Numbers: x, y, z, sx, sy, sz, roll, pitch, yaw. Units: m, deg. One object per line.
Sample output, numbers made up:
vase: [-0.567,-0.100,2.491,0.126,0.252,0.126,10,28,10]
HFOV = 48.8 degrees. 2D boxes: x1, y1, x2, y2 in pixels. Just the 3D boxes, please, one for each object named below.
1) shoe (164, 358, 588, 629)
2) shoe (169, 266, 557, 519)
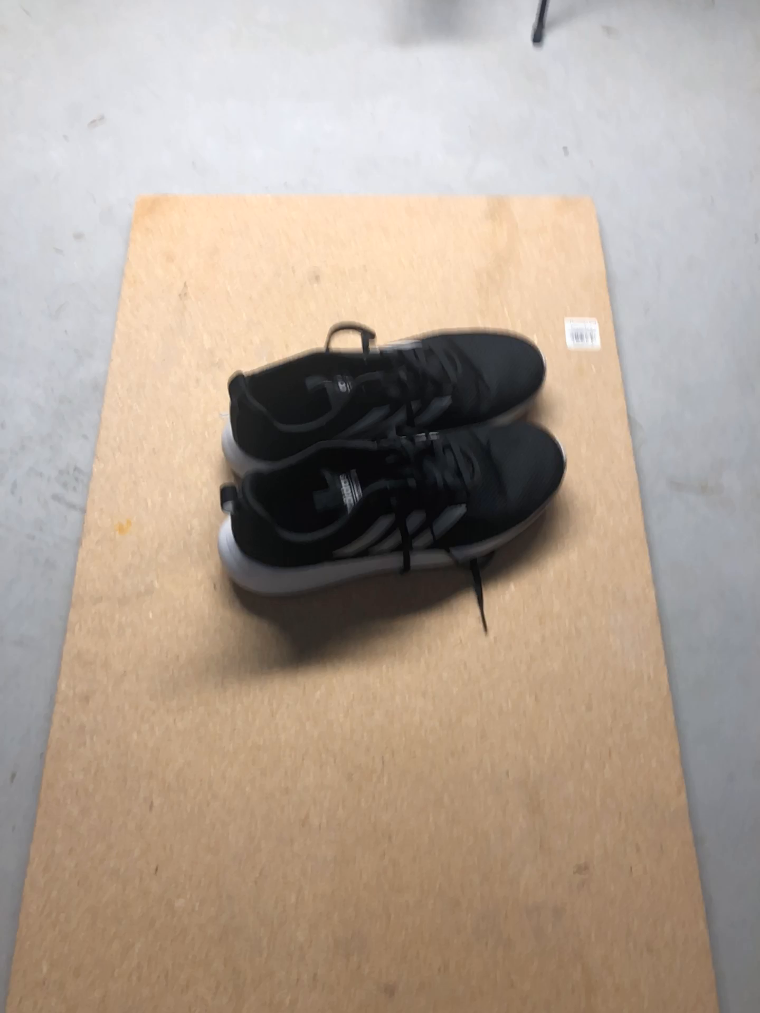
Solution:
shoe: [-0.004,-0.013,0.668,0.300,0.090,0.110,-16,58,-9]
shoe: [-0.014,-0.101,0.727,0.300,0.090,0.110,-17,58,-9]
